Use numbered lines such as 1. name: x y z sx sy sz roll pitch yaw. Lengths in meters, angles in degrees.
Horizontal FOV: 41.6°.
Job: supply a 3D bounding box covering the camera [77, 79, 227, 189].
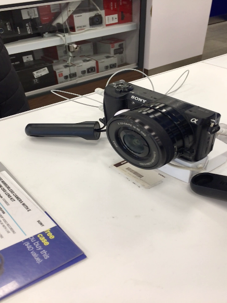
1. camera: 0.032 -0.021 0.292 0.117 0.065 0.052 29 51 32
